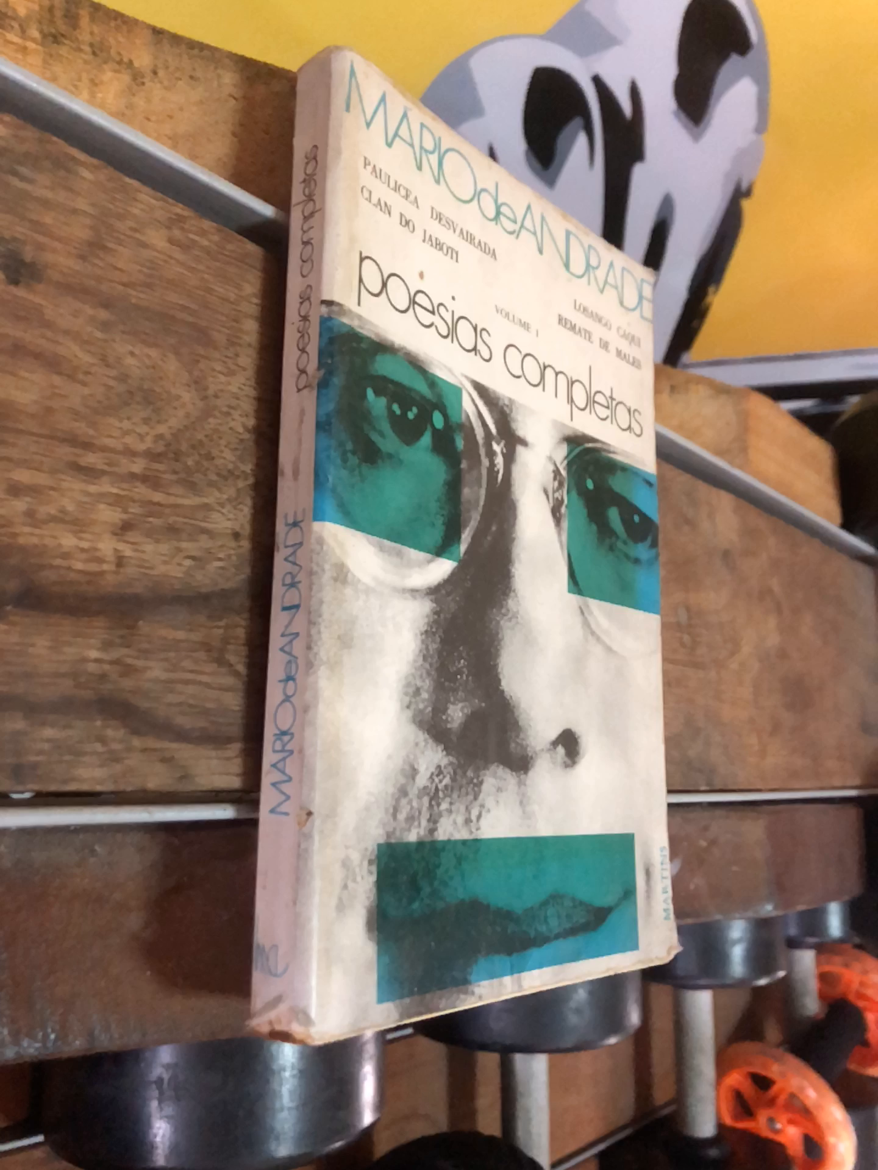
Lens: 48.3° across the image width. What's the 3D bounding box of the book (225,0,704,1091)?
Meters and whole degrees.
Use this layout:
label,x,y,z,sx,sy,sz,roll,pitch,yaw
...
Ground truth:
label,x,y,z,sx,sy,sz,roll,pitch,yaw
book,0.020,-0.010,0.235,0.141,0.020,0.210,15,73,-48
